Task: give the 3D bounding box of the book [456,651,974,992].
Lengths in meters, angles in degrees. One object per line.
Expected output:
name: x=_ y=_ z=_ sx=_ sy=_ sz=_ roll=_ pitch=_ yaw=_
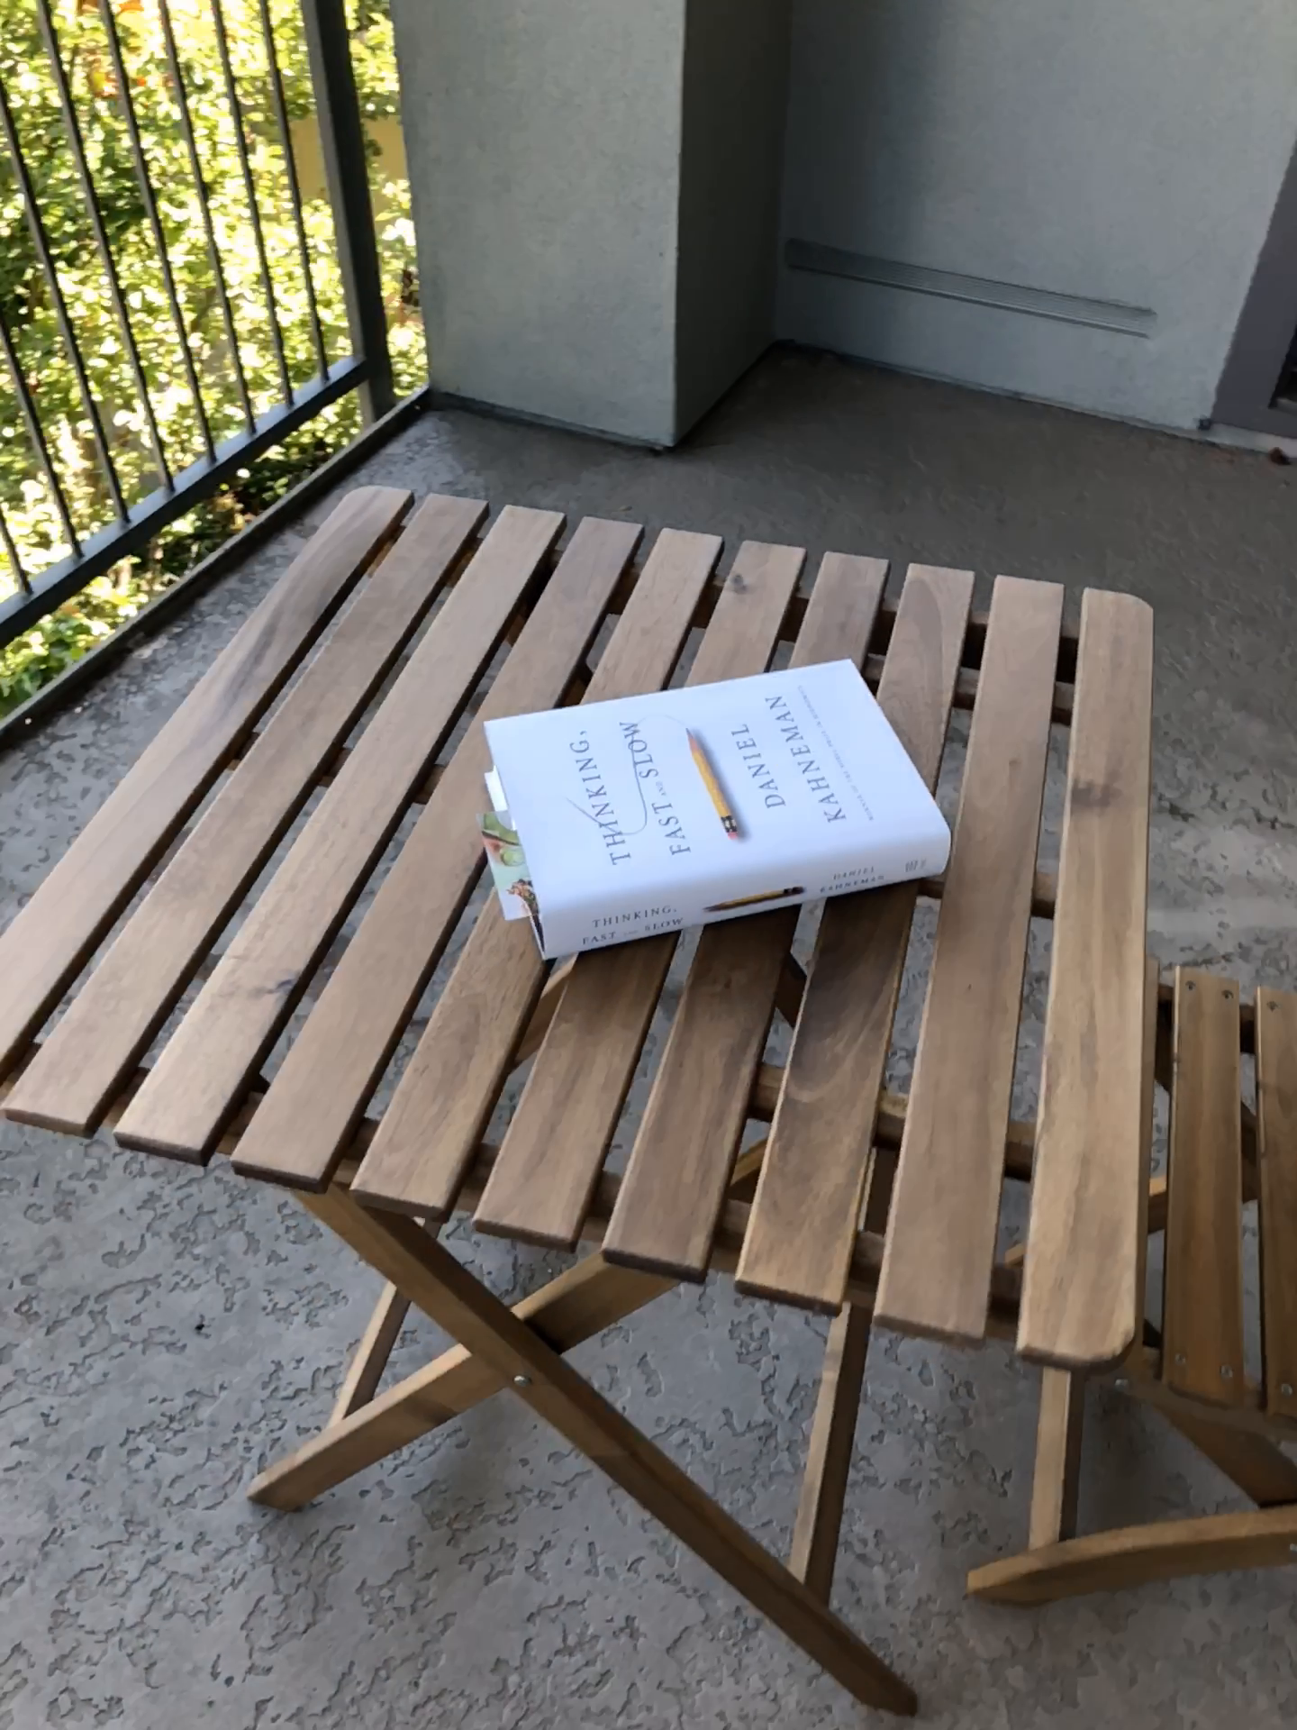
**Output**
book: x=0.032 y=-0.034 z=0.856 sx=0.260 sy=0.050 sz=0.181 roll=-11 pitch=46 yaw=-12
